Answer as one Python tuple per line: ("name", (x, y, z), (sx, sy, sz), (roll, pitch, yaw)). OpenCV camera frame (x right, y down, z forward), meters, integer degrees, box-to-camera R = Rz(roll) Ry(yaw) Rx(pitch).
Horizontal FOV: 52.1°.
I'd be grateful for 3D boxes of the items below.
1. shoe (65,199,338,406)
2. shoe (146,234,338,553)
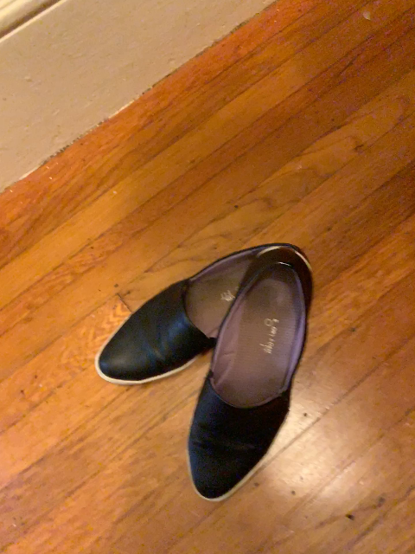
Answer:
("shoe", (-0.005, 0.031, 0.465), (0.260, 0.080, 0.100), (-27, 68, -3))
("shoe", (0.034, 0.097, 0.393), (0.100, 0.080, 0.250), (16, 94, 14))
